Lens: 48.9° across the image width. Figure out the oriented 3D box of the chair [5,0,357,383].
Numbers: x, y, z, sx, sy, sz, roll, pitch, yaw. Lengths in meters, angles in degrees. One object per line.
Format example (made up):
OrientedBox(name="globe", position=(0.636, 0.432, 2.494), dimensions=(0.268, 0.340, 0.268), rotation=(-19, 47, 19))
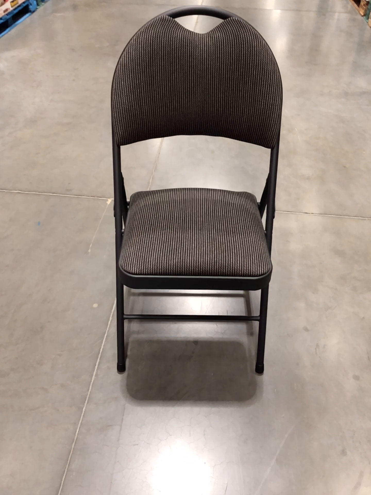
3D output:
OrientedBox(name="chair", position=(-0.001, -0.125, 1.103), dimensions=(0.520, 0.866, 0.562), rotation=(3, 44, 2))
